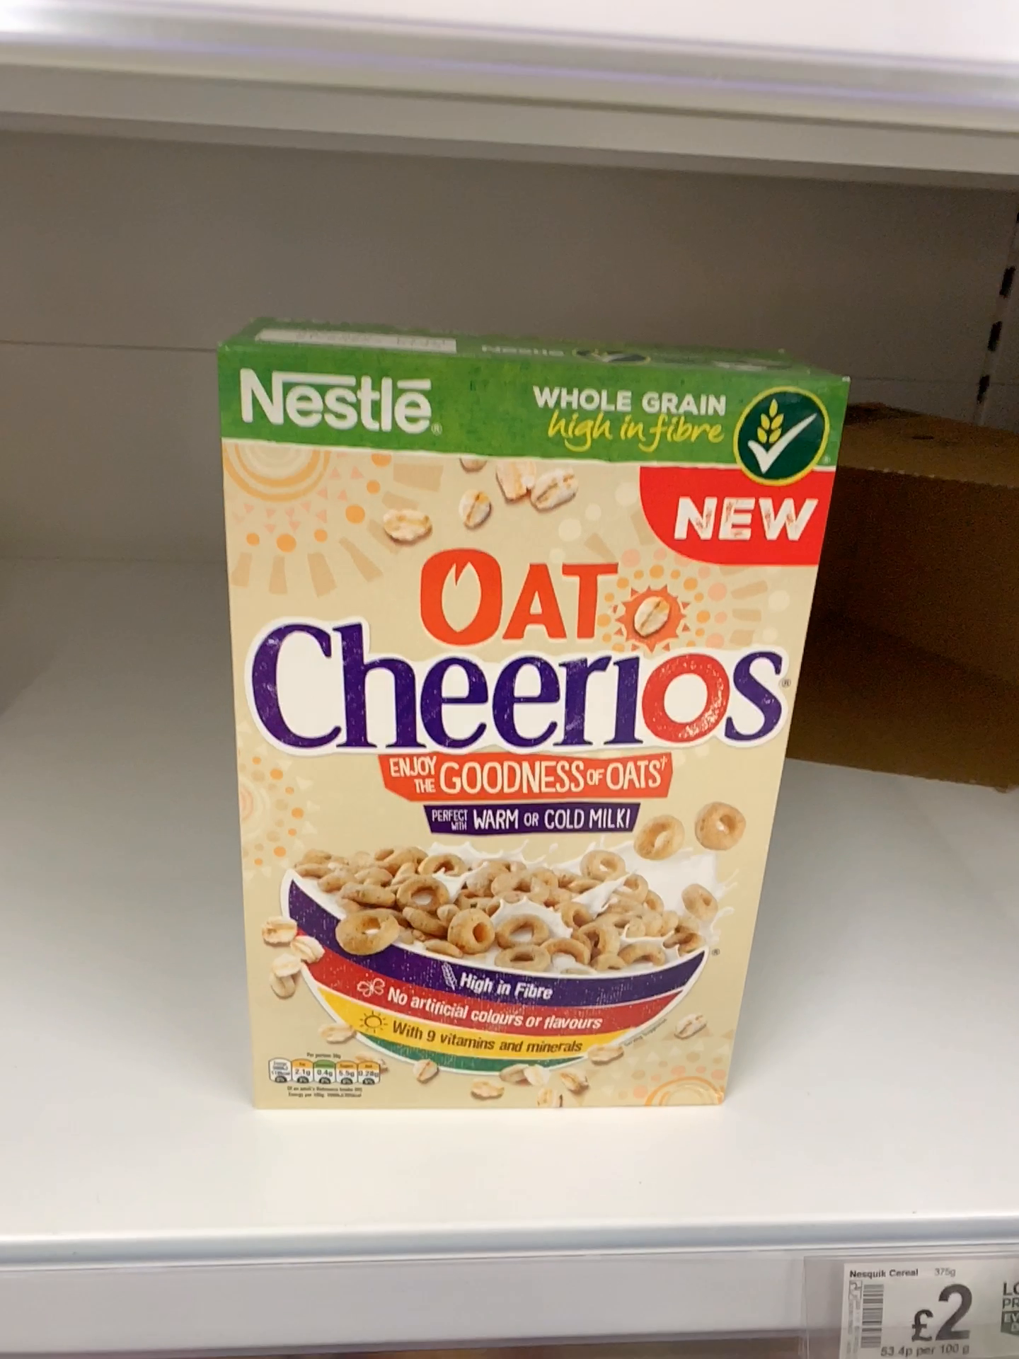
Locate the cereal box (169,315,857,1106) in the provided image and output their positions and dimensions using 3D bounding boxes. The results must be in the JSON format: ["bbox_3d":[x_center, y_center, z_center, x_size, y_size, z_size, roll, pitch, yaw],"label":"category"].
[{"bbox_3d":[-0.006,0.023,0.394,0.200,0.288,0.071,1,24,-4],"label":"cereal box"}]
